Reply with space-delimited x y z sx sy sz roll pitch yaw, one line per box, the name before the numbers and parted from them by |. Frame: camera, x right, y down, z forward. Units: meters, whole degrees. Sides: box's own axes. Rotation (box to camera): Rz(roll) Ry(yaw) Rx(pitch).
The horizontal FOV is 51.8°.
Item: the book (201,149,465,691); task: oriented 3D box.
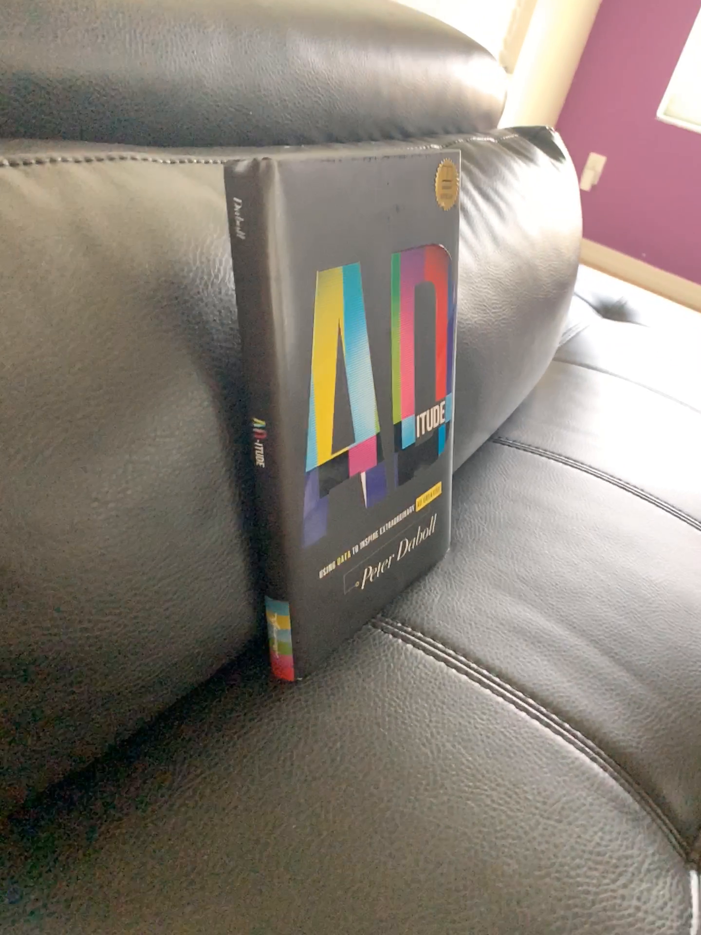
book | 0.007 -0.031 0.367 0.025 0.235 0.162 14 28 34
